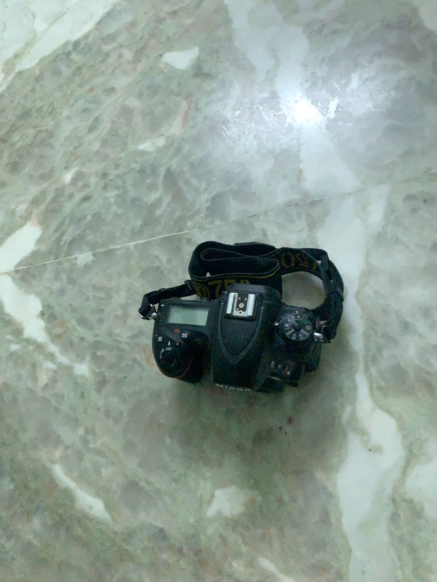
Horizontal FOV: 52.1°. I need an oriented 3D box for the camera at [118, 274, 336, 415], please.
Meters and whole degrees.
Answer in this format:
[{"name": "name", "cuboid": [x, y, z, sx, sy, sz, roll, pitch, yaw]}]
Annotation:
[{"name": "camera", "cuboid": [0.016, 0.046, 0.368, 0.150, 0.100, 0.080, 4, 72, 17]}]
